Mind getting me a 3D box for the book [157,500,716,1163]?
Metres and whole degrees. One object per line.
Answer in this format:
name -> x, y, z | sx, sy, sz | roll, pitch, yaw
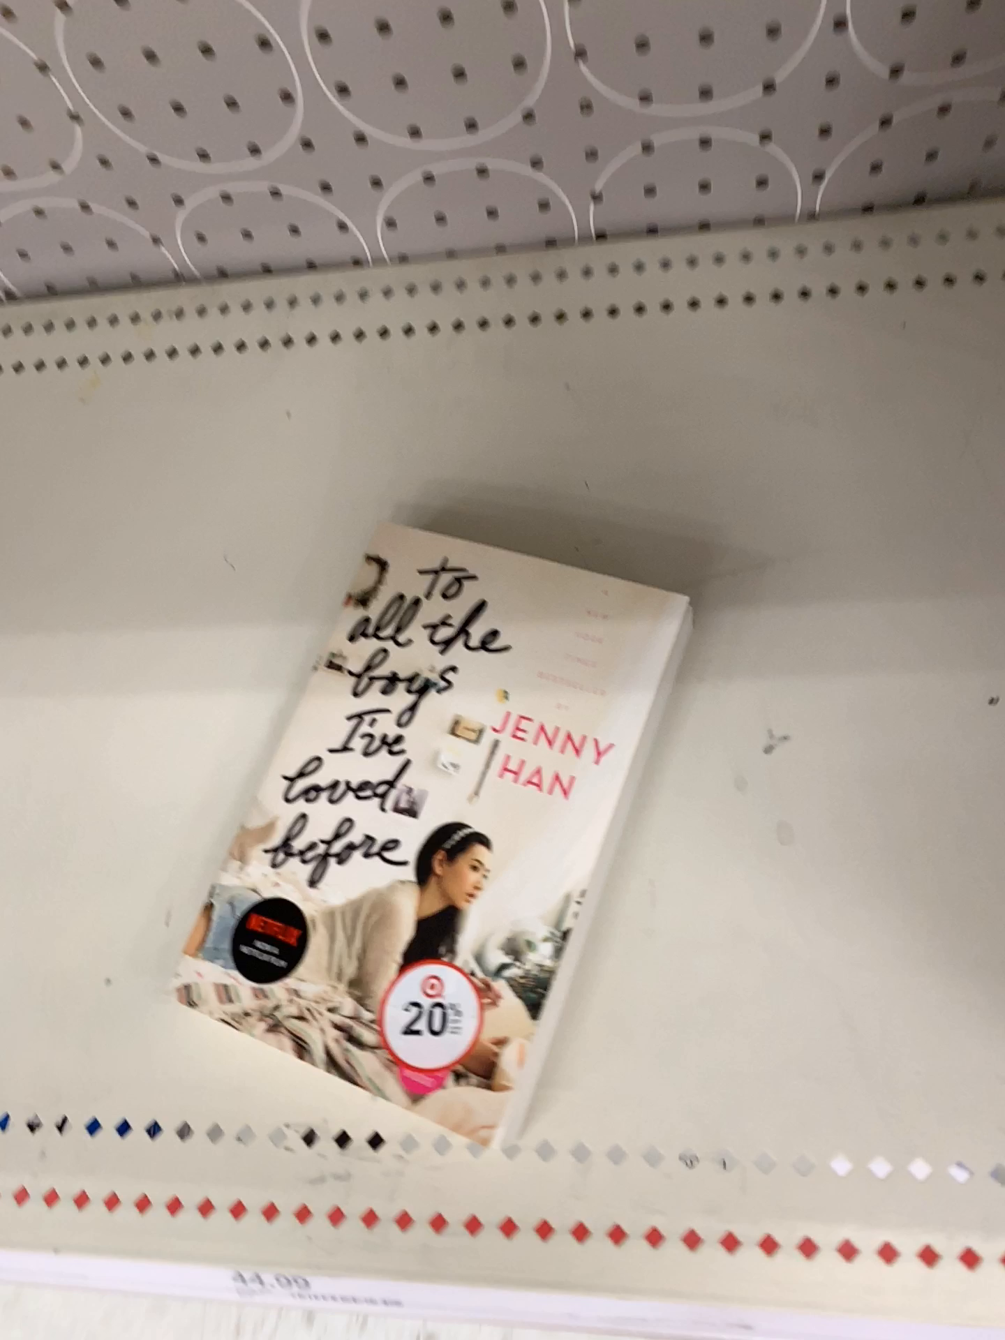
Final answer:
book -> -0.020, 0.051, 0.398 | 0.144, 0.034, 0.213 | 17, 74, 16
